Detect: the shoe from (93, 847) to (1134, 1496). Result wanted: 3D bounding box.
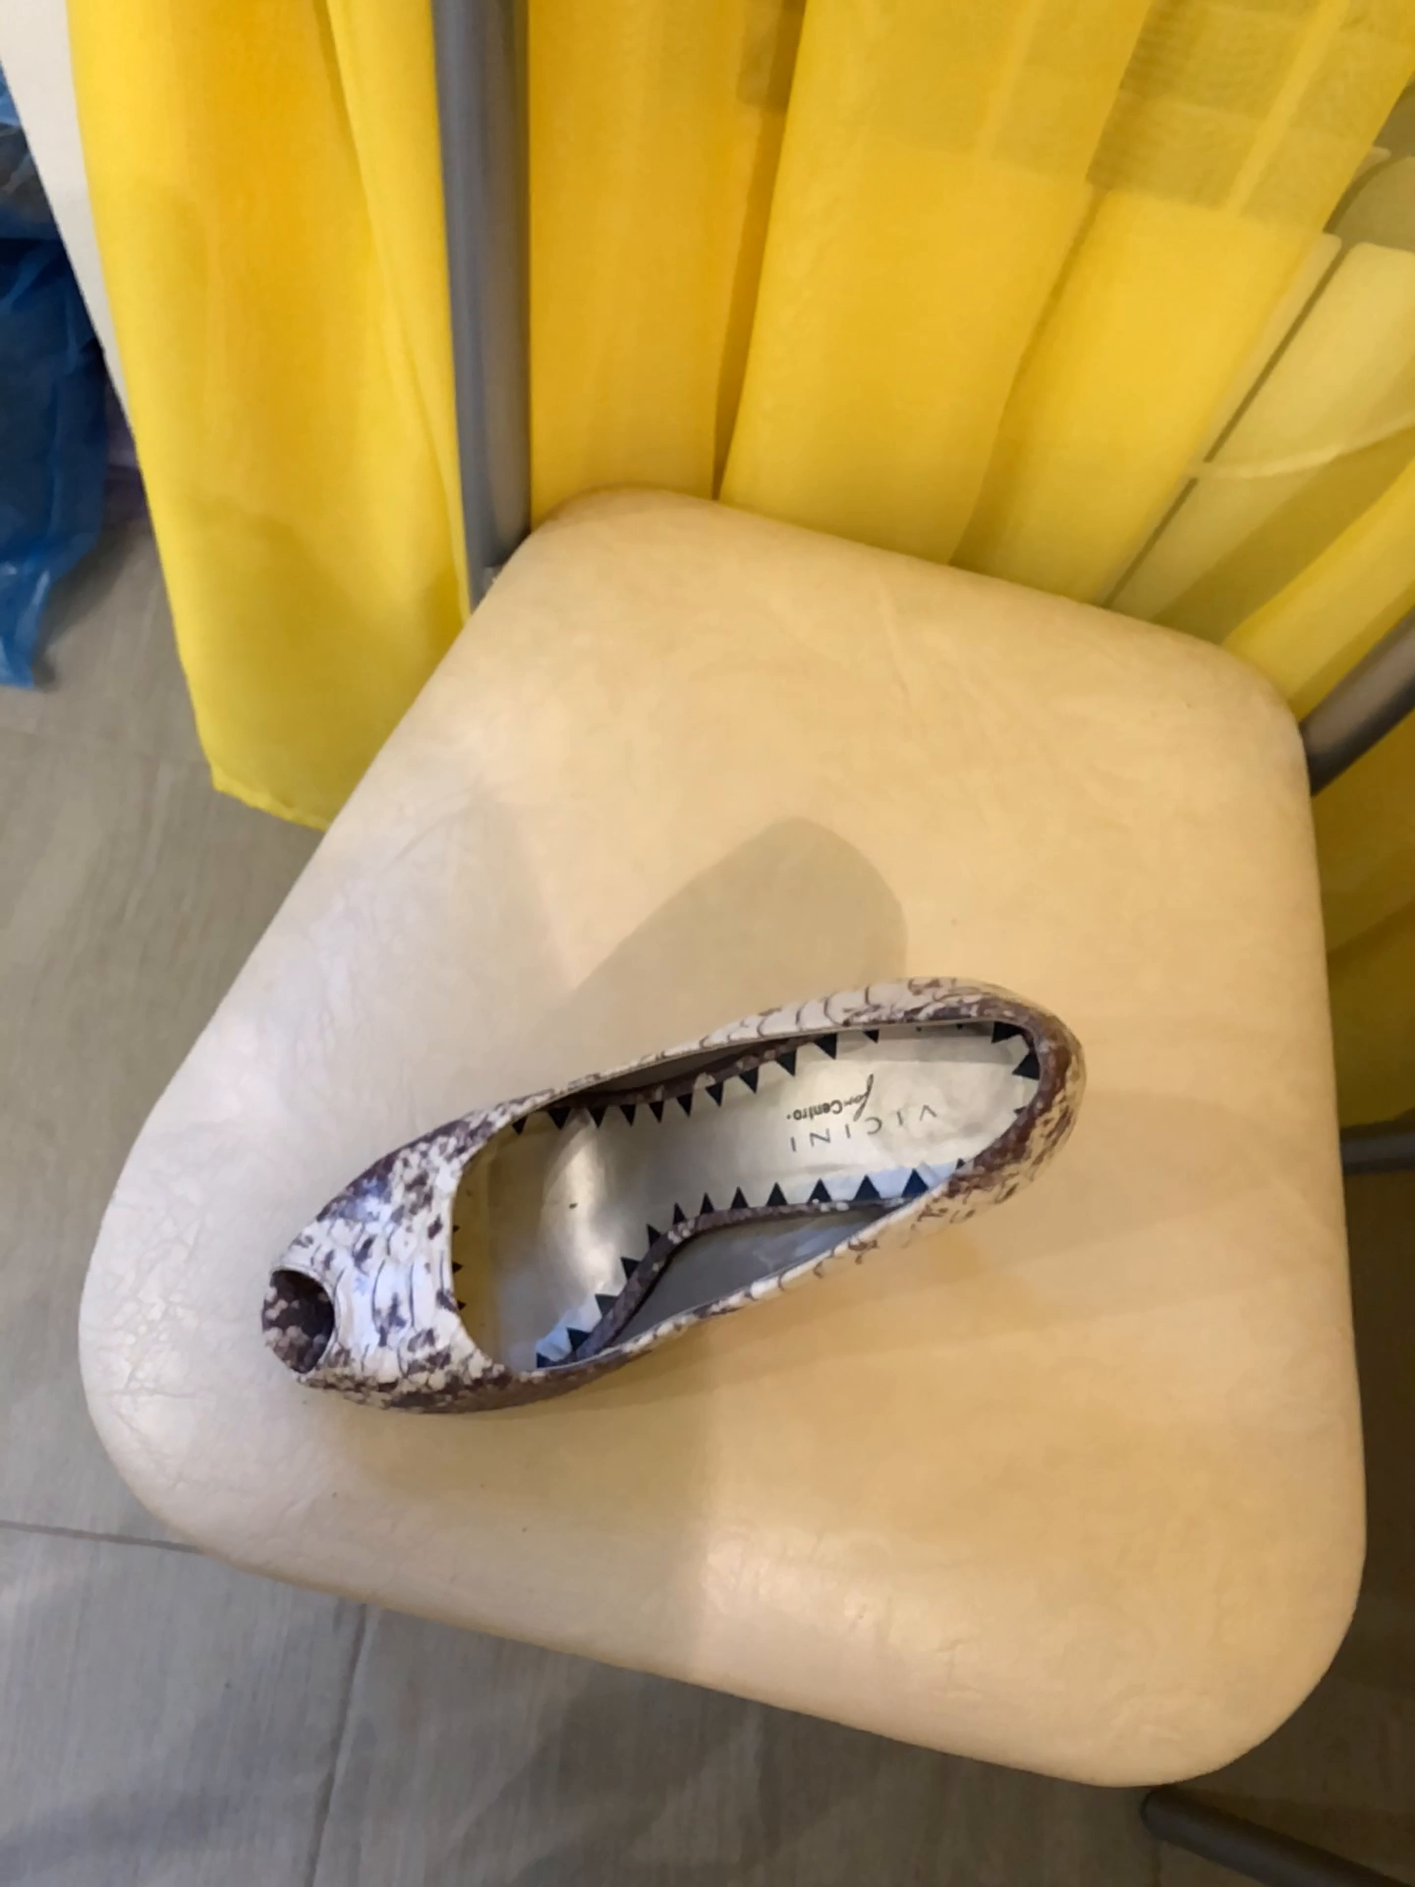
[{"bbox_3d":[-0.024,0.060,0.383,0.200,0.130,0.080,-15,75,-12],"label":"shoe"}]
